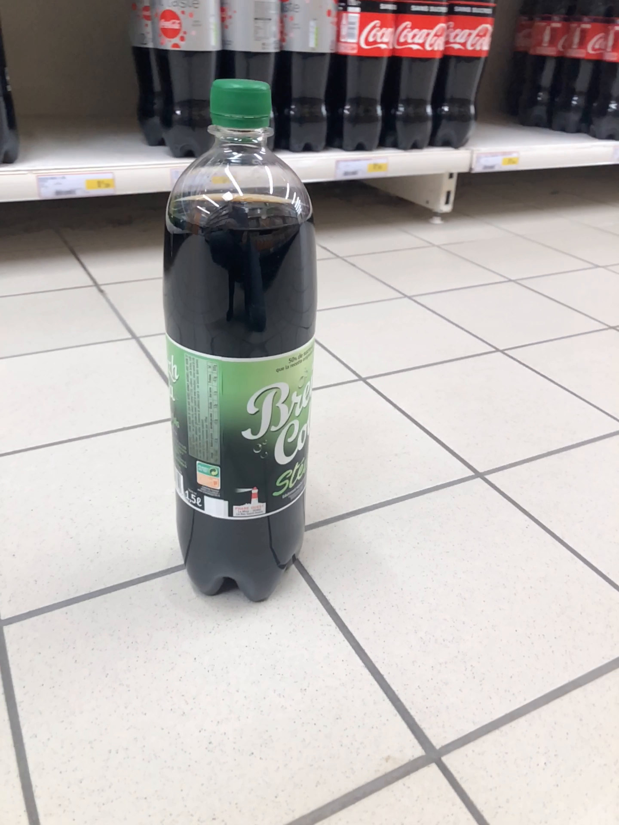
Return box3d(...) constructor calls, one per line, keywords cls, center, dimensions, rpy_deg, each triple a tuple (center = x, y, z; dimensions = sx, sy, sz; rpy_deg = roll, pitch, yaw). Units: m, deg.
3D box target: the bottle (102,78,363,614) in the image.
box3d(cls="bottle", center=(-0.040, -0.034, 0.418), dimensions=(0.100, 0.298, 0.101), rpy_deg=(2, 29, -1))
